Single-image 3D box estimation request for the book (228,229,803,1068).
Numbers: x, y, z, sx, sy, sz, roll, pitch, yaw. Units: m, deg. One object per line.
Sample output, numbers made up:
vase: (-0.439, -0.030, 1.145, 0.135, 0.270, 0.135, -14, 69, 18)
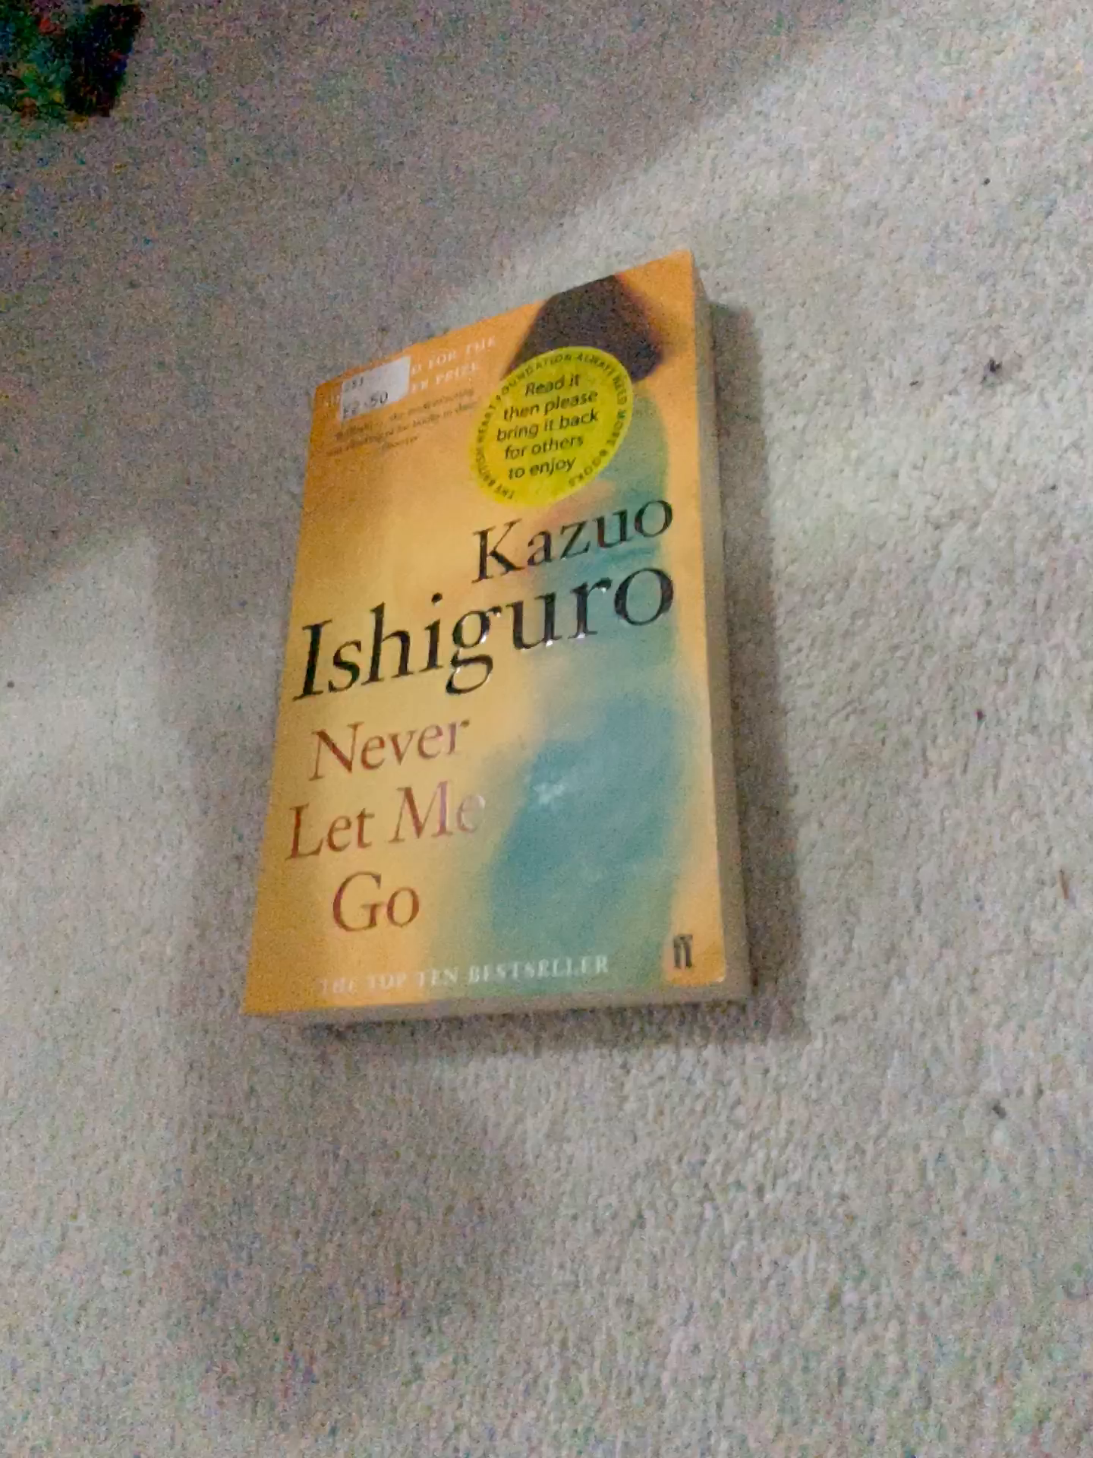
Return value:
book: (-0.012, -0.022, 0.299, 0.140, 0.020, 0.211, -11, 65, 25)
